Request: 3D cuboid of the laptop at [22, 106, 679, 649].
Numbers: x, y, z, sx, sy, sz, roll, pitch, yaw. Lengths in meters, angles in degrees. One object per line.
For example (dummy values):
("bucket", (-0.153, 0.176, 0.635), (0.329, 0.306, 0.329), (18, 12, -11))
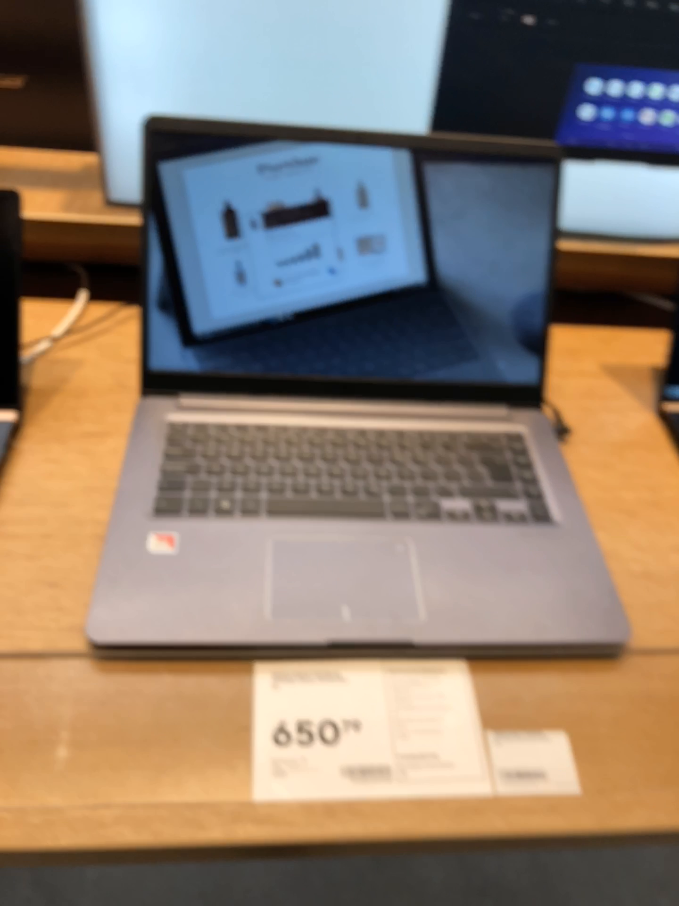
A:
("laptop", (0.011, -0.078, 0.567), (0.352, 0.177, 0.392), (2, 44, -6))
